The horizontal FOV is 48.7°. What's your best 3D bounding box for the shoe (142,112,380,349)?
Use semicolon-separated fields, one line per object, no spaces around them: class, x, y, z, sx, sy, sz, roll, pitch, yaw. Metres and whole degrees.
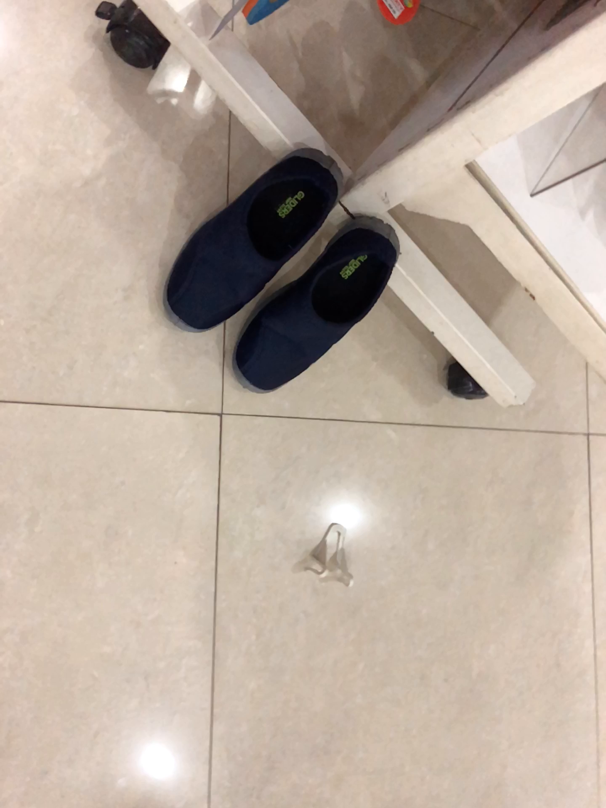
shoe;-0.052;-0.207;0.816;0.288;0.064;0.107;-45;106;-5

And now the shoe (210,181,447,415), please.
shoe;0.031;-0.132;0.841;0.288;0.084;0.110;-45;106;-8
